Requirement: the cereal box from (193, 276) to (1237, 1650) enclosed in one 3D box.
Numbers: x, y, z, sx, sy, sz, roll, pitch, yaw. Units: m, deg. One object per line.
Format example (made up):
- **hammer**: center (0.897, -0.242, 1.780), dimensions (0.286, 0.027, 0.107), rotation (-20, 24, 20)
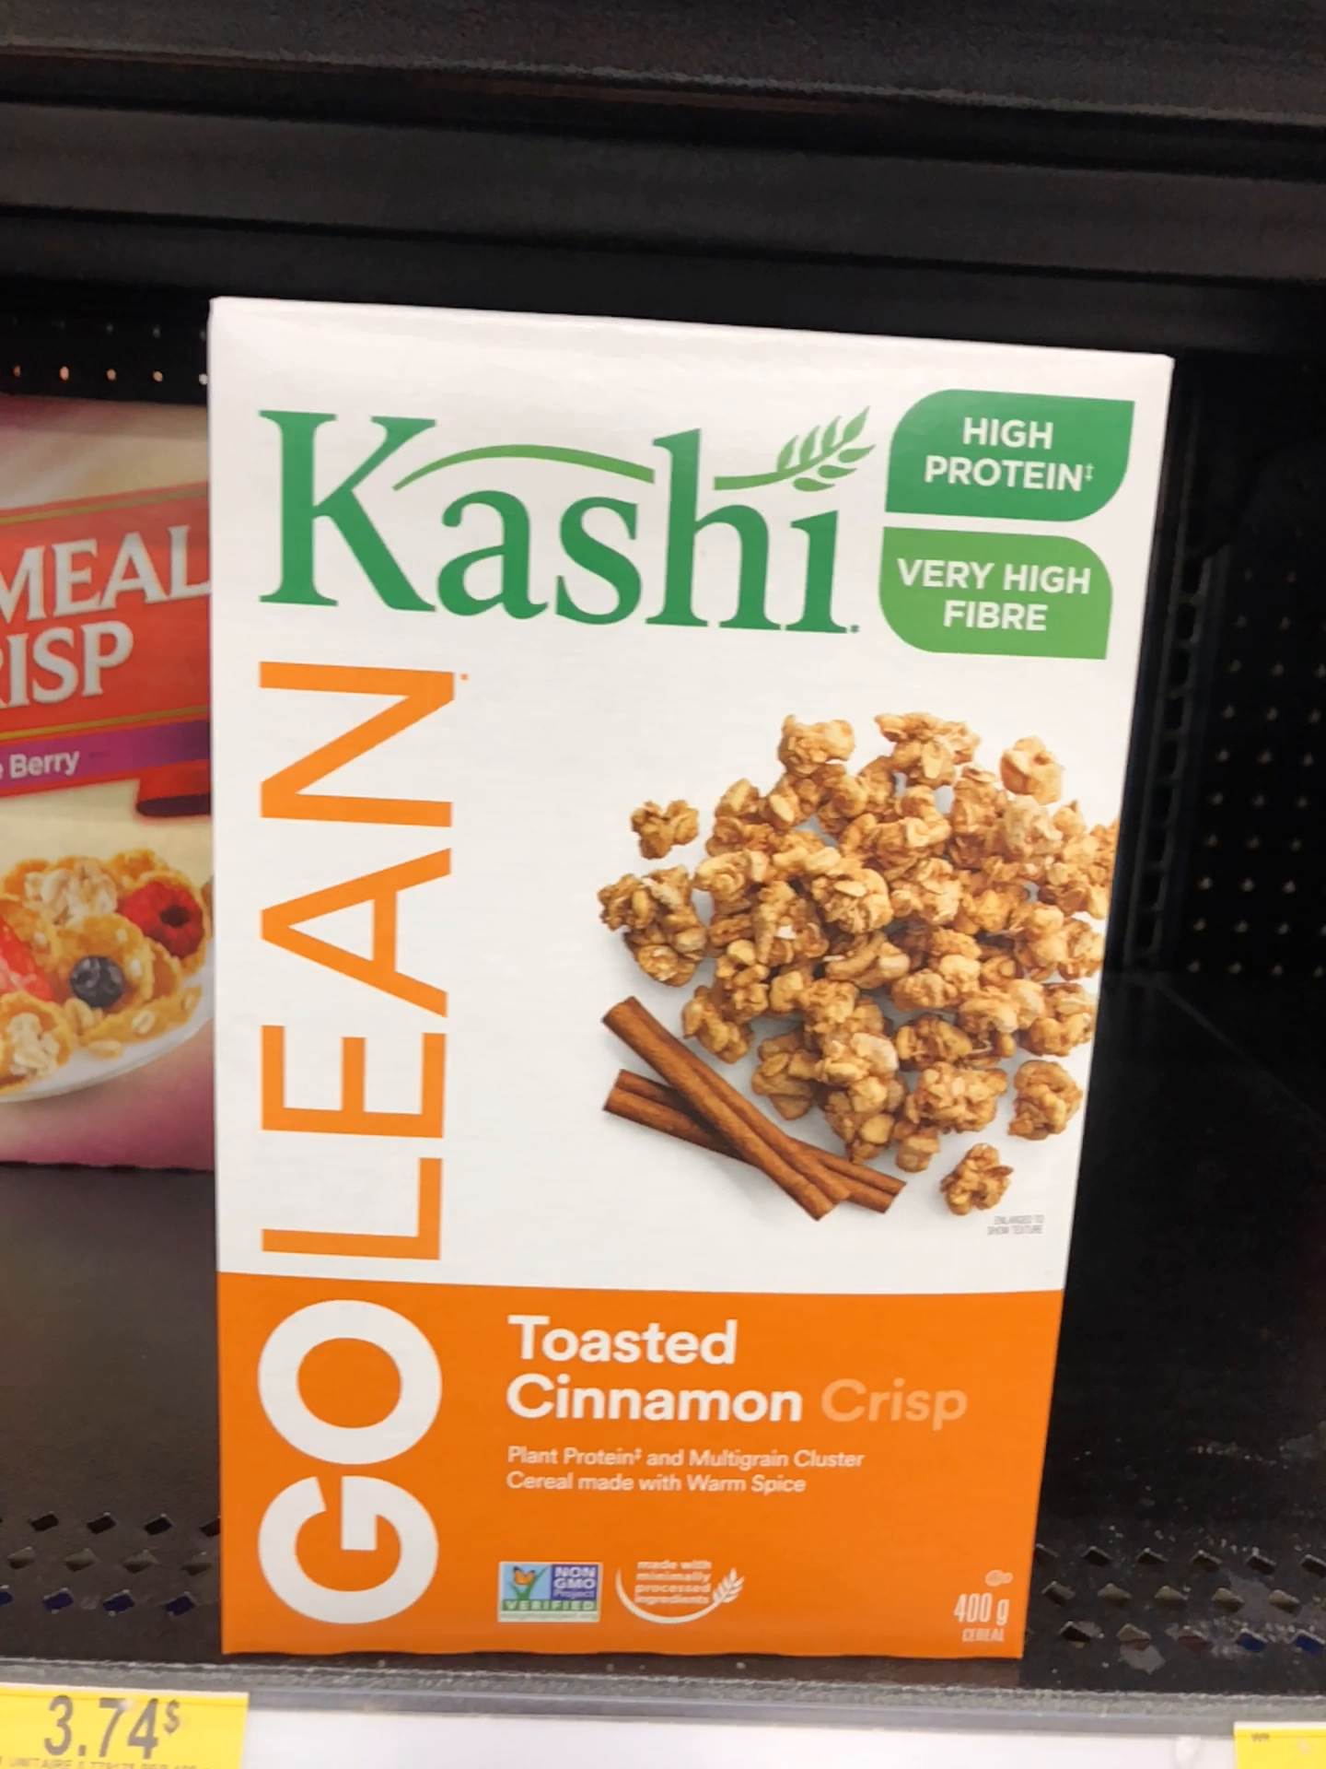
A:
- **cereal box**: center (0.002, 0.023, 0.290), dimensions (0.170, 0.249, 0.050), rotation (2, 12, -3)
